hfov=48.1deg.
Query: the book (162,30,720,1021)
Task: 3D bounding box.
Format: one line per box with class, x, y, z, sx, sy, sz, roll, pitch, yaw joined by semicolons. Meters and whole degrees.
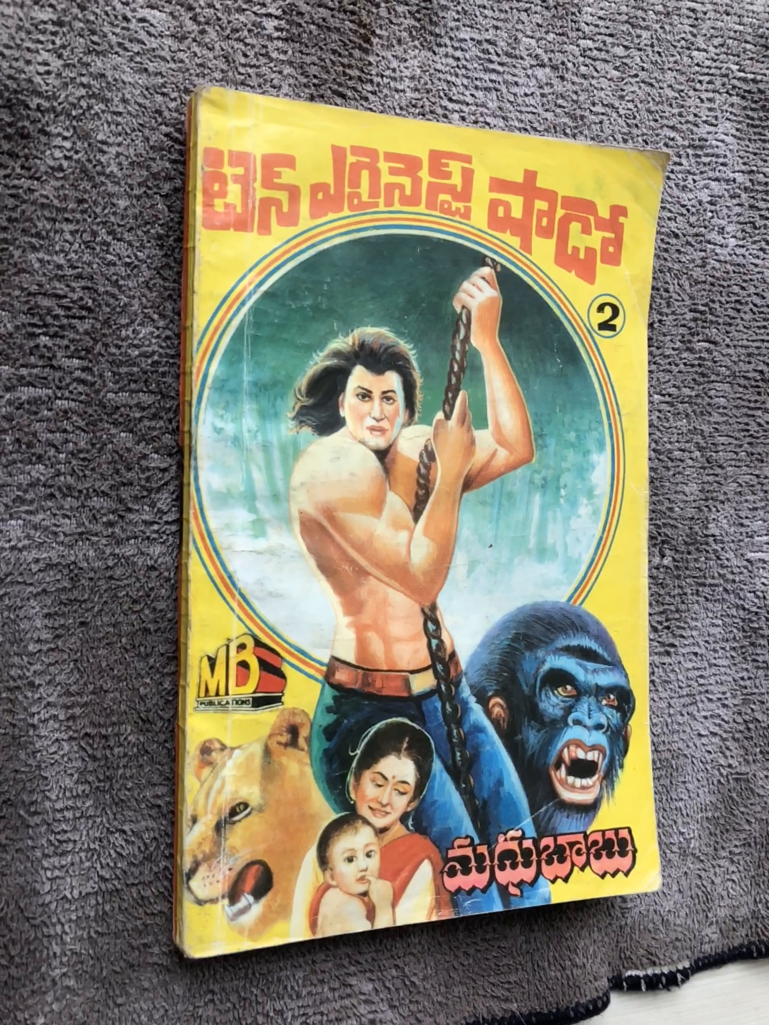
book;0.014;0.001;0.169;0.110;0.020;0.160;0;88;-22
